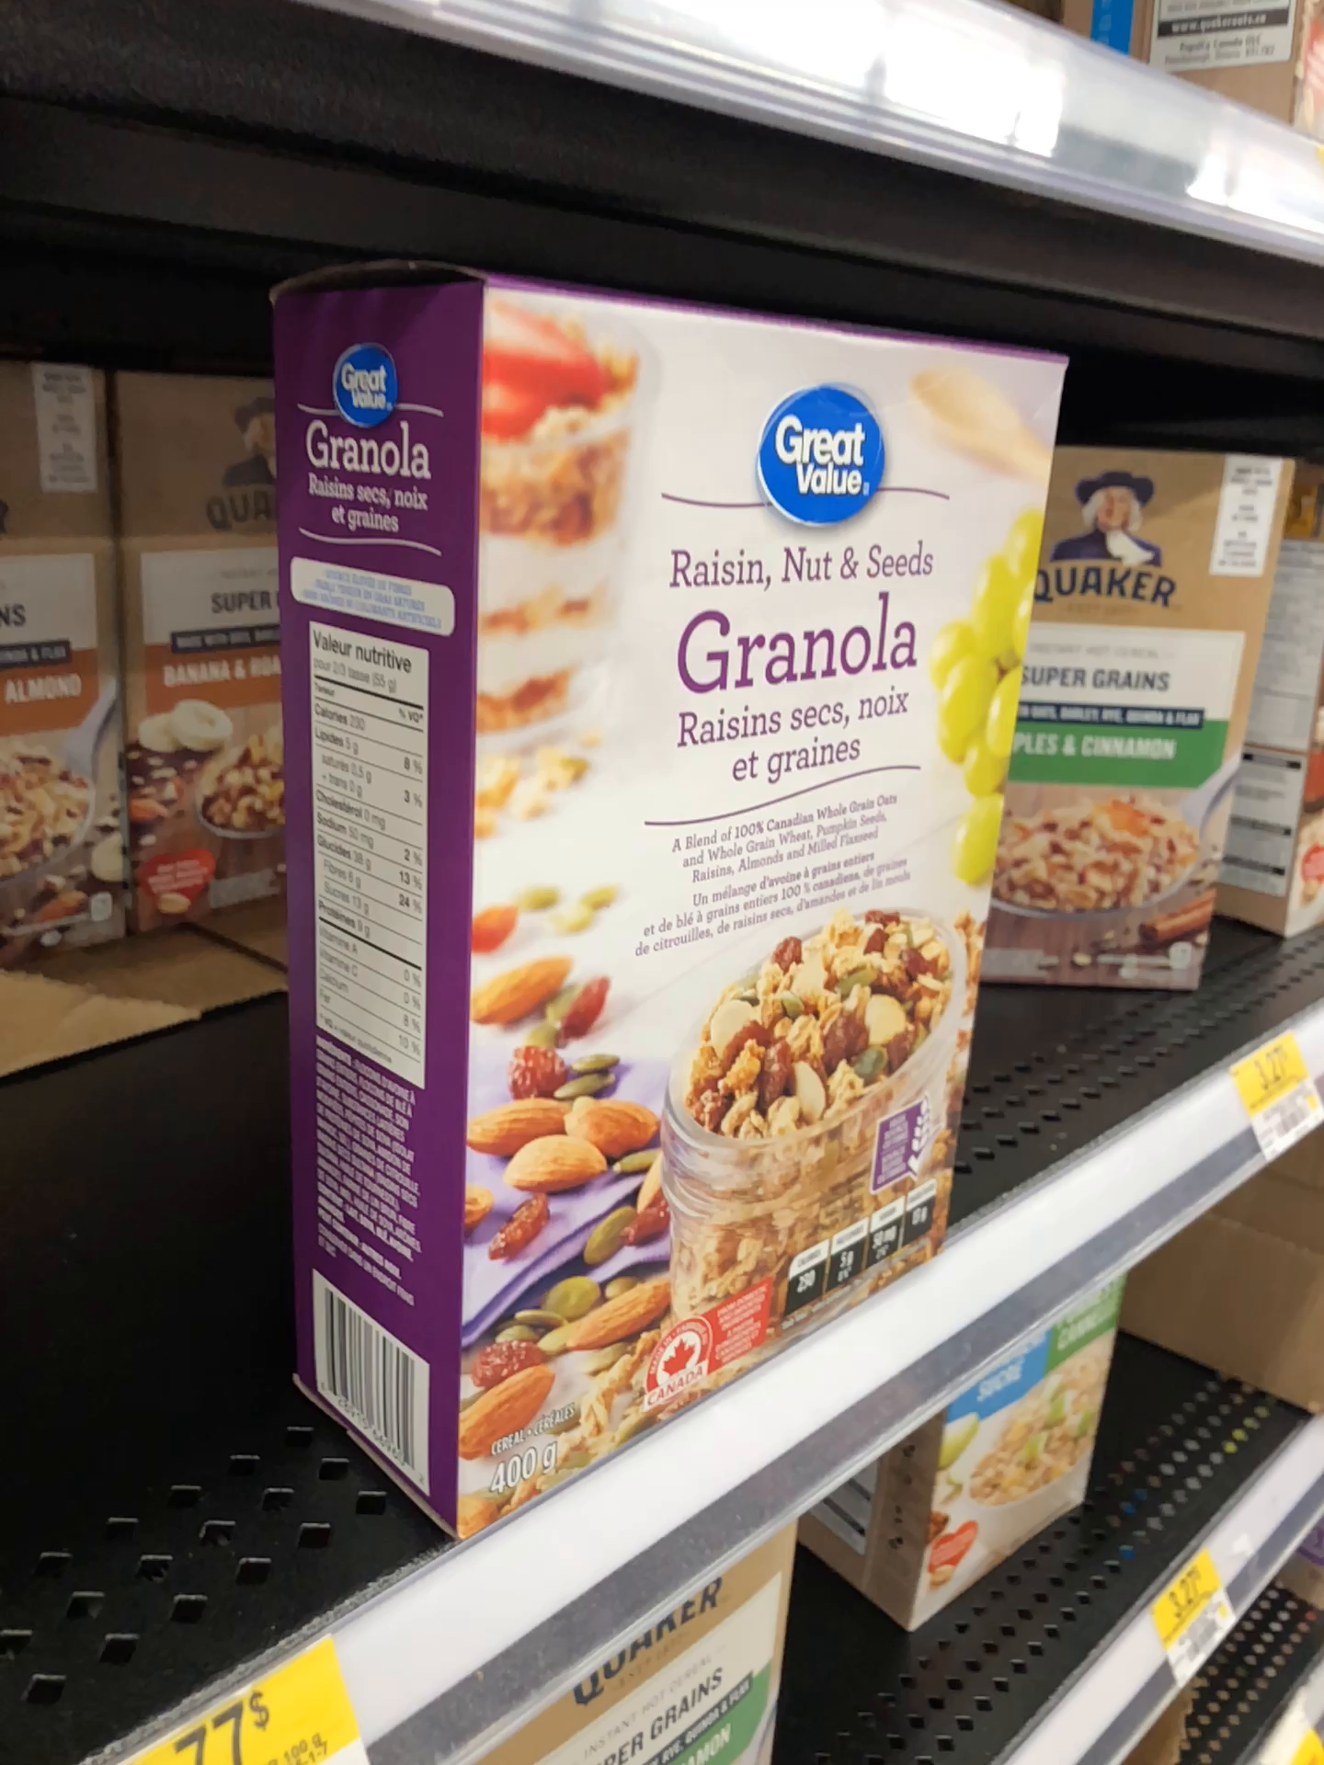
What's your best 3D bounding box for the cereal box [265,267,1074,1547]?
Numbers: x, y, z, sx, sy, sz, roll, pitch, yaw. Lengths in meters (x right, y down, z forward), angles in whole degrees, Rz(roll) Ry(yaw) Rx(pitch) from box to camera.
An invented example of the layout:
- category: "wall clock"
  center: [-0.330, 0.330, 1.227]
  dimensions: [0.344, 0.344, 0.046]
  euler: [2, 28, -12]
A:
- category: "cereal box"
  center: [0.005, -0.004, 0.315]
  dimensions: [0.160, 0.219, 0.060]
  euler: [-14, 24, -43]
